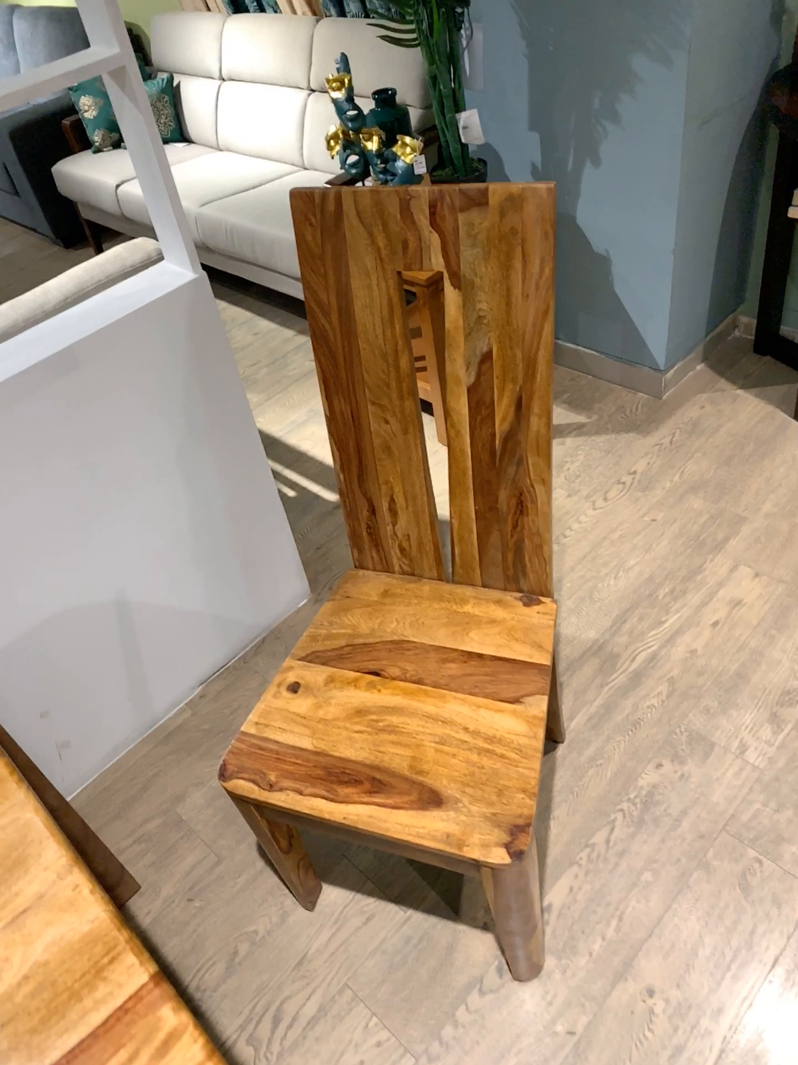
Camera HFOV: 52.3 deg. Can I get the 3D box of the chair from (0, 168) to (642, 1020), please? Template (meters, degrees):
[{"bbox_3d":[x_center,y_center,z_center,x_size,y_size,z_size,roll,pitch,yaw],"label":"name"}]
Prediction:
[{"bbox_3d":[0.024,0.121,1.118,0.500,0.966,0.602,6,46,18],"label":"chair"}]
